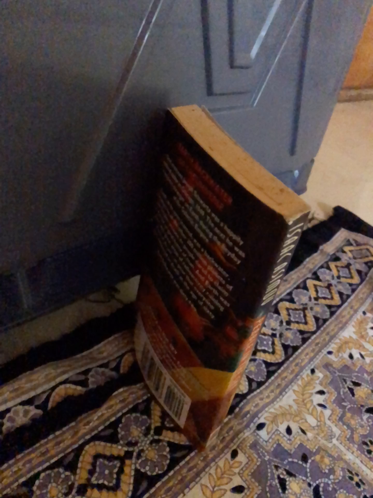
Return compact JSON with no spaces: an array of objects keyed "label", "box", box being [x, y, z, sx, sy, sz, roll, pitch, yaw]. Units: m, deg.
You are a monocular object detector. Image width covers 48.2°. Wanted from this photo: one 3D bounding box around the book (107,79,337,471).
[{"label":"book","box":[-0.005,0.015,0.261,0.030,0.189,0.150,-11,40,-29]}]
